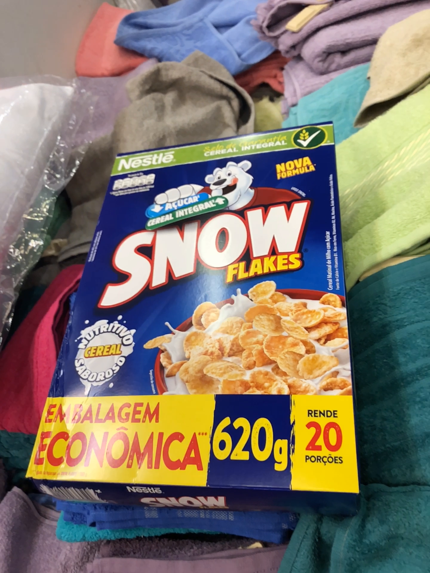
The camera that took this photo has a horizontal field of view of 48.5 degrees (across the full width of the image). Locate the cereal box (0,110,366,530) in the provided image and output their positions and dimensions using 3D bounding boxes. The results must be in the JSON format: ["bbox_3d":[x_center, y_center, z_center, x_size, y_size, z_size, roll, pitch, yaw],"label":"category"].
[{"bbox_3d":[-0.011,0.006,0.367,0.220,0.070,0.302,-5,54,17],"label":"cereal box"}]
